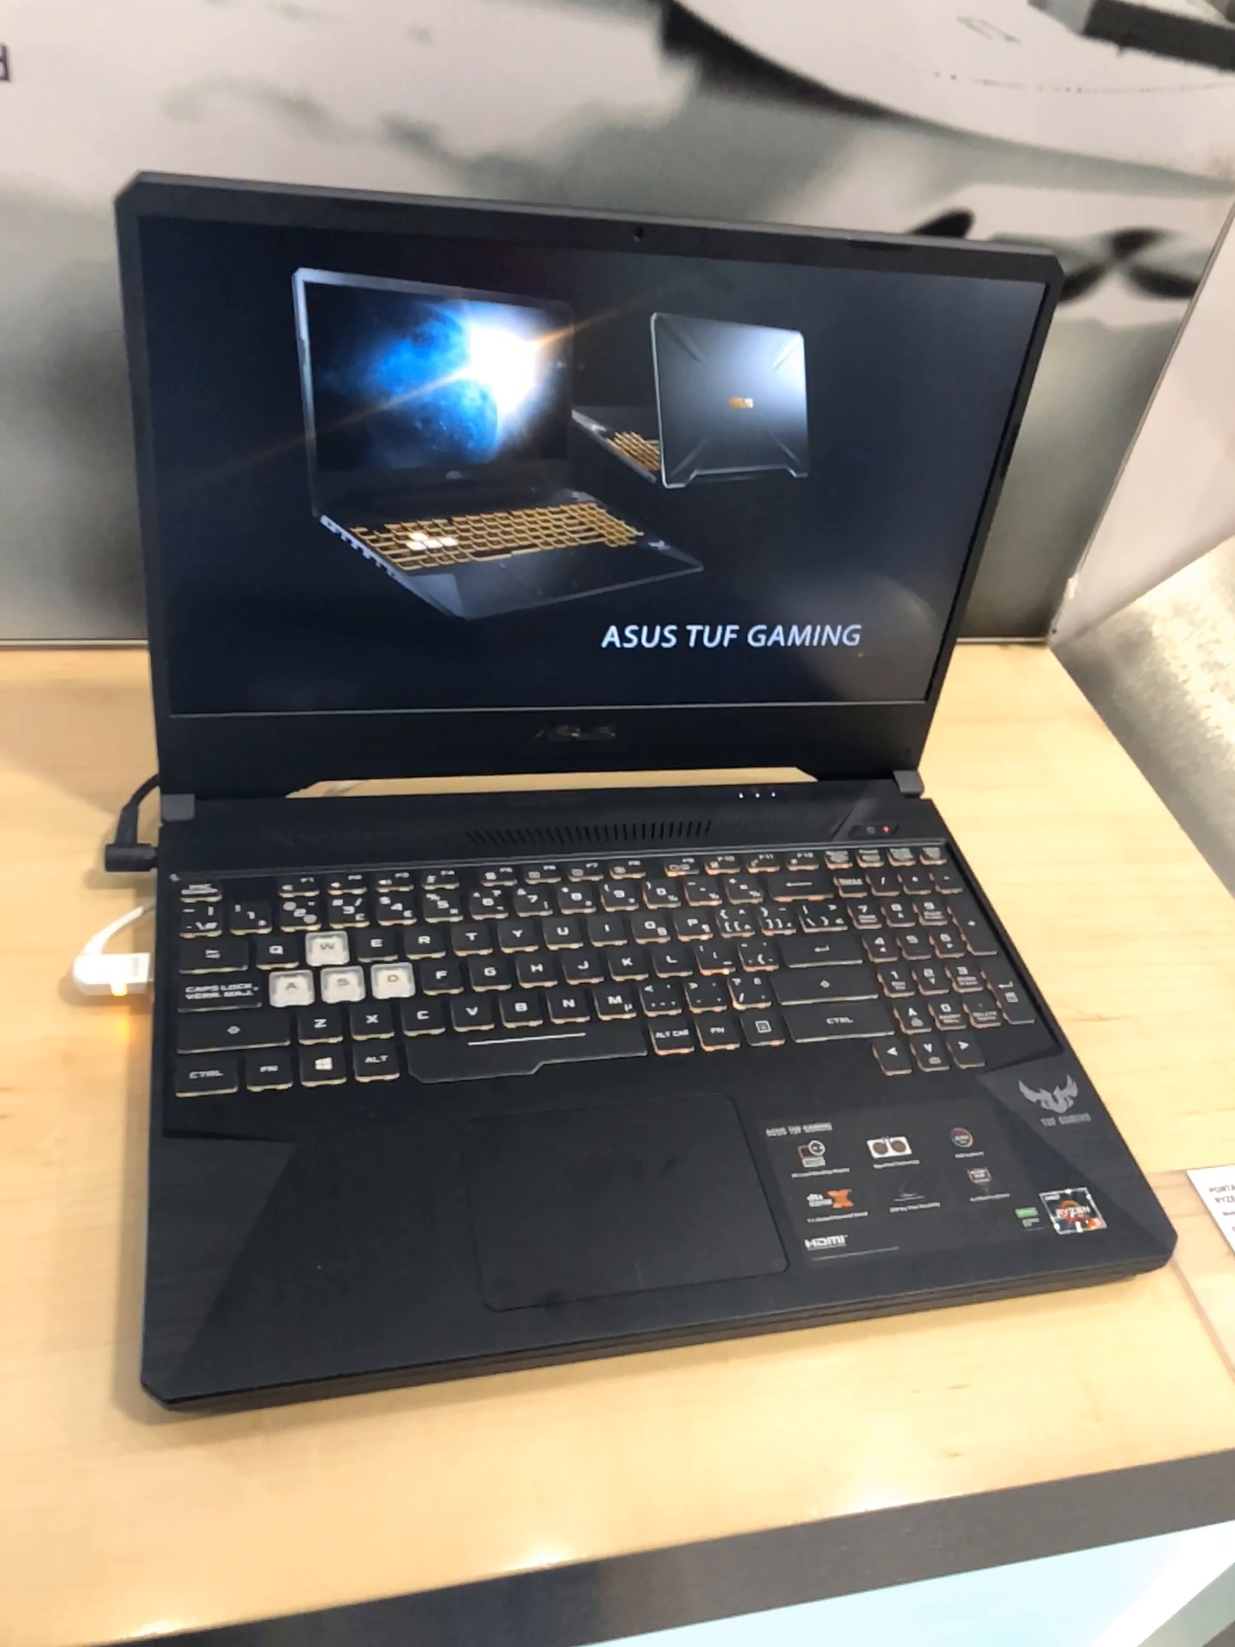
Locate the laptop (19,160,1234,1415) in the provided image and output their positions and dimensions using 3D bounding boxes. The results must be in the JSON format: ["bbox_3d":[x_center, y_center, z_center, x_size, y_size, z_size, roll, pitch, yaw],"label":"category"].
[{"bbox_3d":[0.017,-0.032,0.472,0.359,0.245,0.310,-3,44,-16],"label":"laptop"}]
